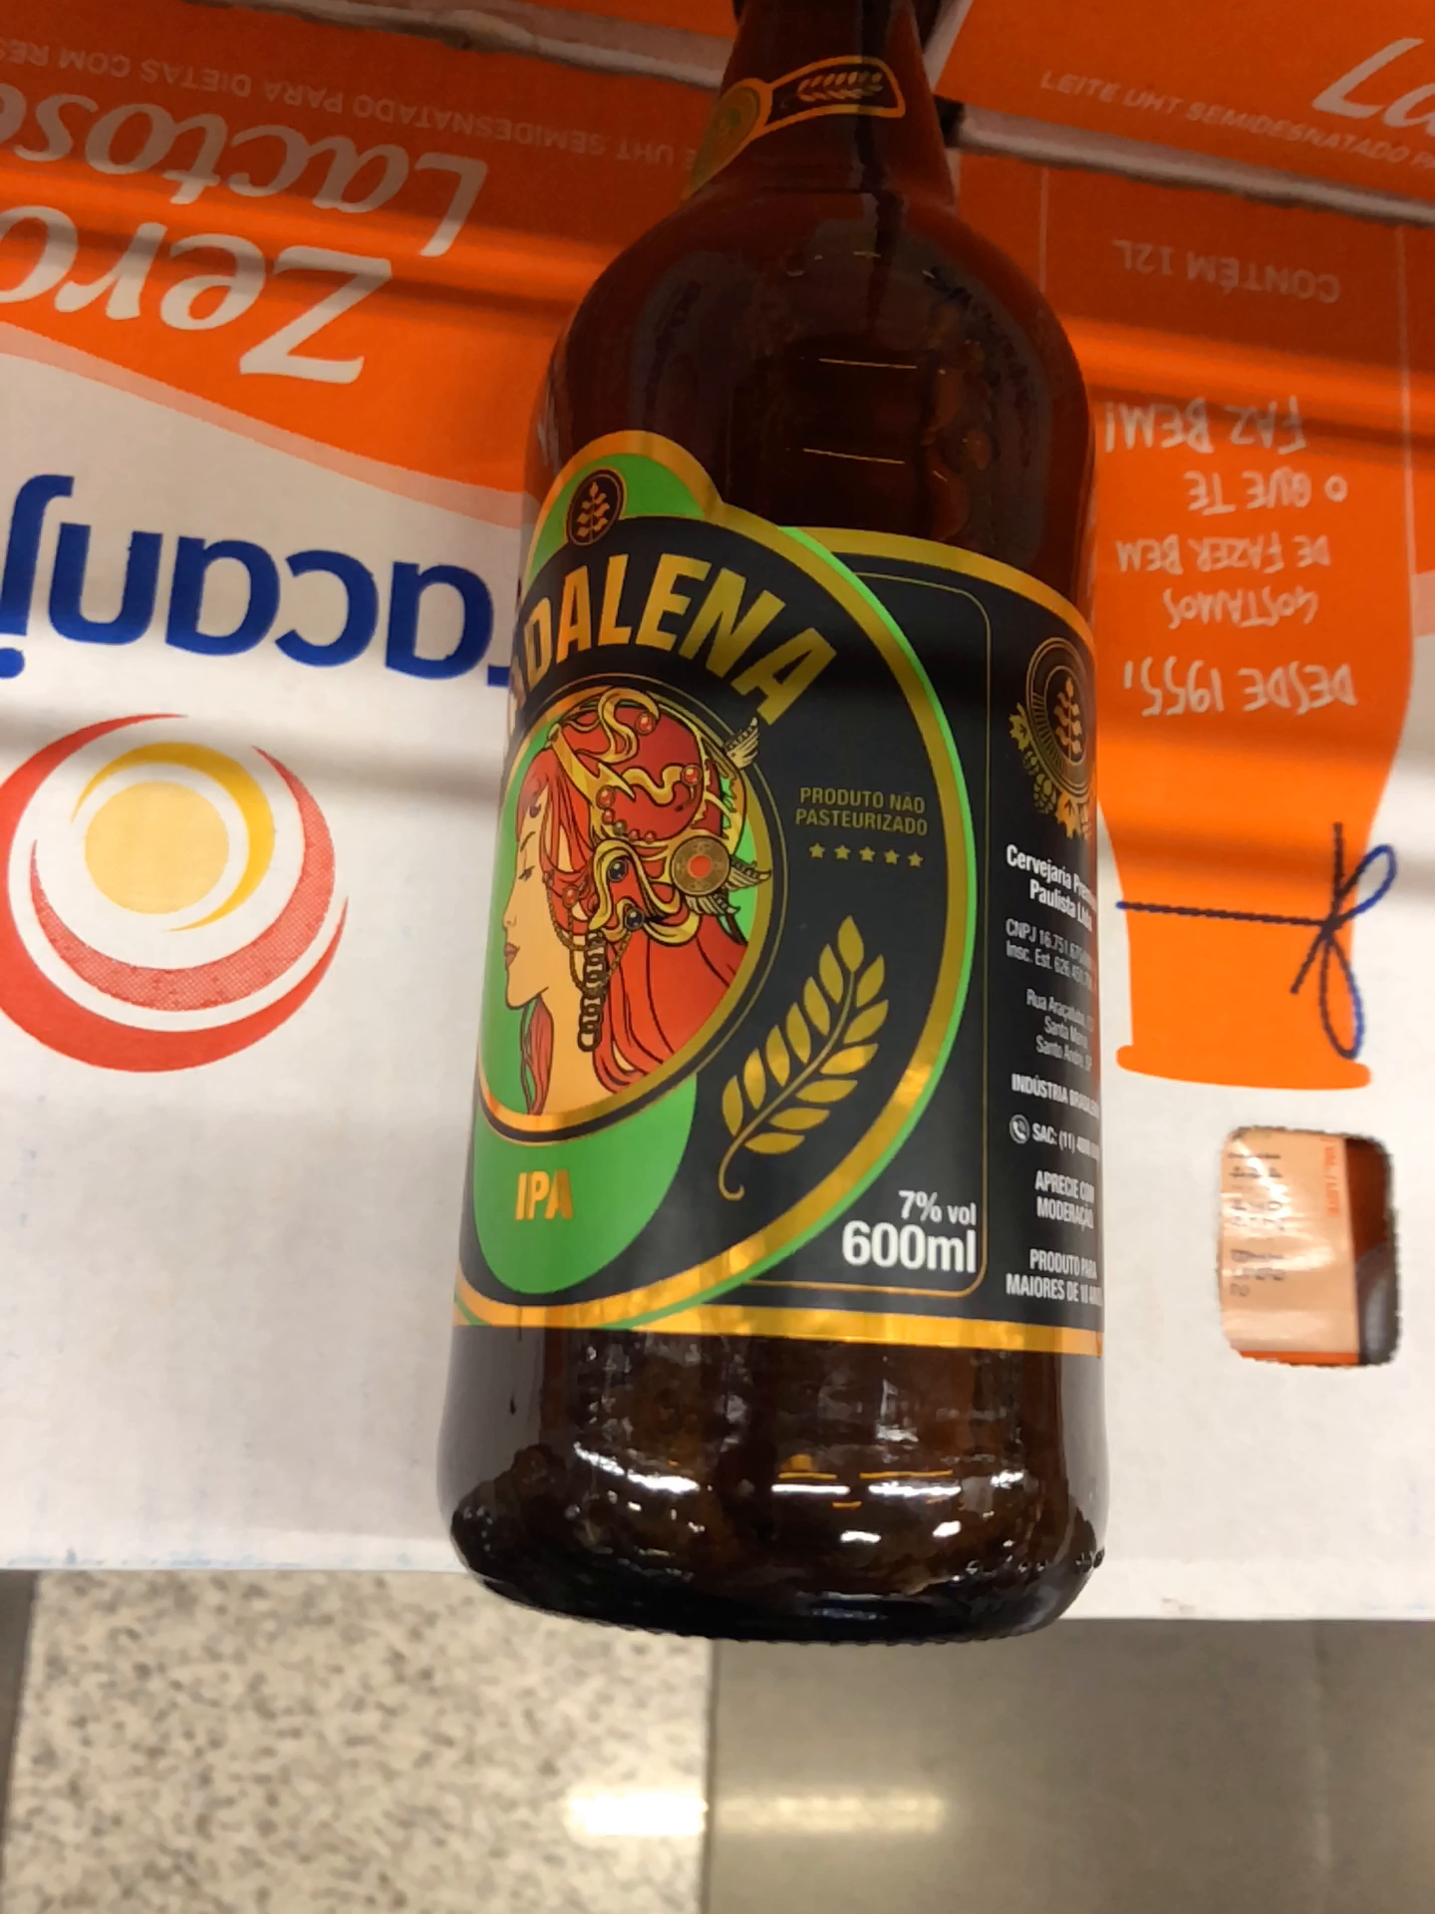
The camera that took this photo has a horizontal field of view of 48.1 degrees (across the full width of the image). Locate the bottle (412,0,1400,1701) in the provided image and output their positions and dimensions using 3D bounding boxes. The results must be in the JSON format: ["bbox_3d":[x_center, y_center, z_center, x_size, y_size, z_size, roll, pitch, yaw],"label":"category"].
[{"bbox_3d":[0.021,-0.057,0.219,0.100,0.060,0.280,4,77,-9],"label":"bottle"}]
